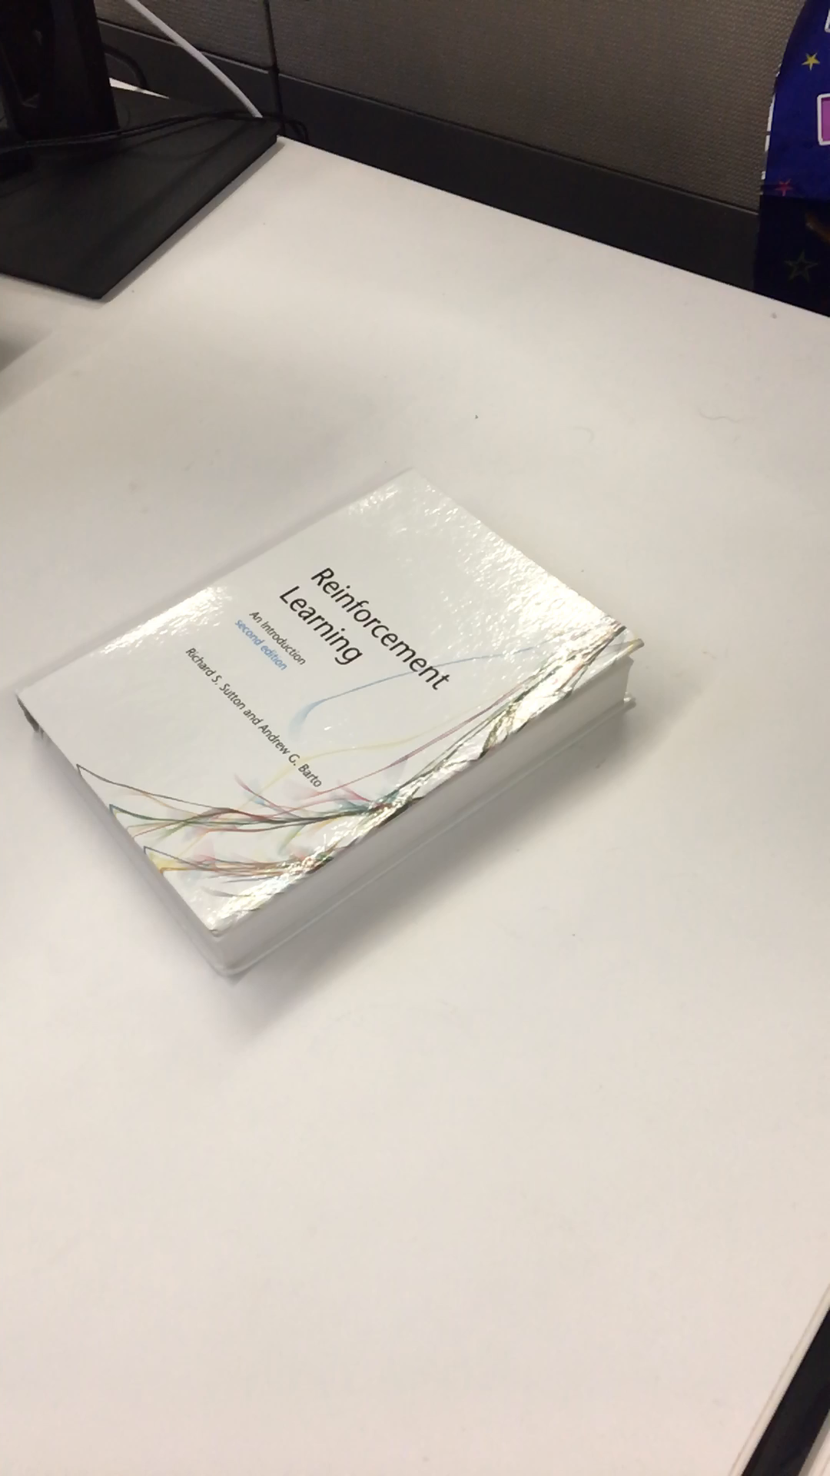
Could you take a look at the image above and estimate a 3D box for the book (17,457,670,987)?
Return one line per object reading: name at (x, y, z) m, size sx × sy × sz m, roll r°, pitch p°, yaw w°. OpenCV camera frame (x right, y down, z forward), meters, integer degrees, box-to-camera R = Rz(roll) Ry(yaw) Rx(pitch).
book at (-0.033, -0.024, 0.574) m, size 0.240 × 0.030 × 0.180 m, roll -33°, pitch 57°, yaw -20°
